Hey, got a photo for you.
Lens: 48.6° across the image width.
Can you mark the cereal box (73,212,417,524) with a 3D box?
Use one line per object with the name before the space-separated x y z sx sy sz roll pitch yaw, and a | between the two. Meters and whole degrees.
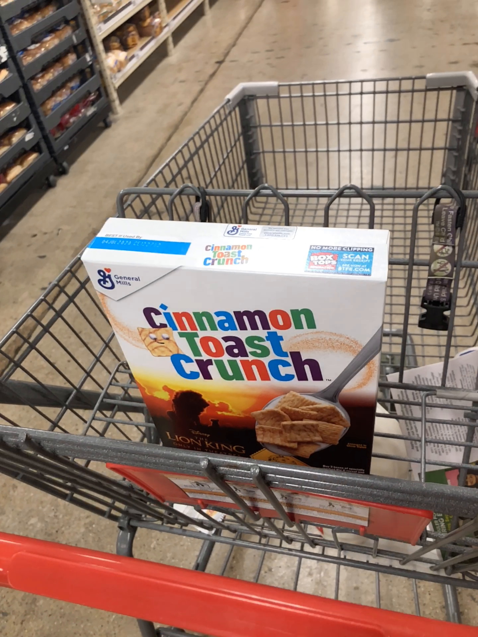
cereal box | 0.023 0.059 0.437 0.210 0.309 0.050 6 48 18
